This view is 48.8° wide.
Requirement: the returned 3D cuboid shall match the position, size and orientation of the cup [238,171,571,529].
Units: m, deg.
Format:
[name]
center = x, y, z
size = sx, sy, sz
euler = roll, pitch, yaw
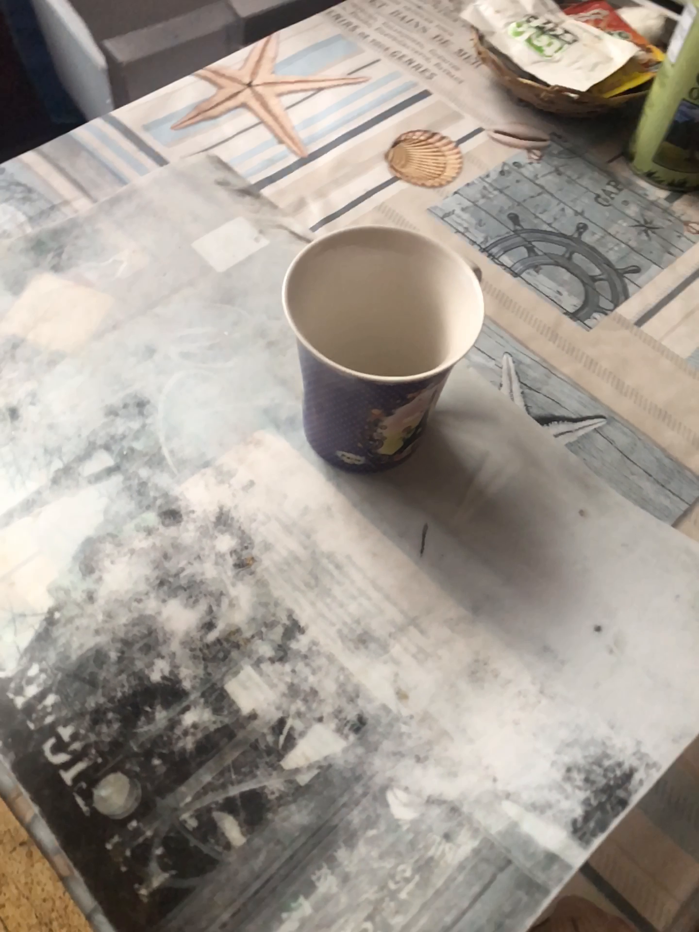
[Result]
[cup]
center = 0.024, -0.056, 0.368
size = 0.090, 0.085, 0.120
euler = 36, 63, 17
